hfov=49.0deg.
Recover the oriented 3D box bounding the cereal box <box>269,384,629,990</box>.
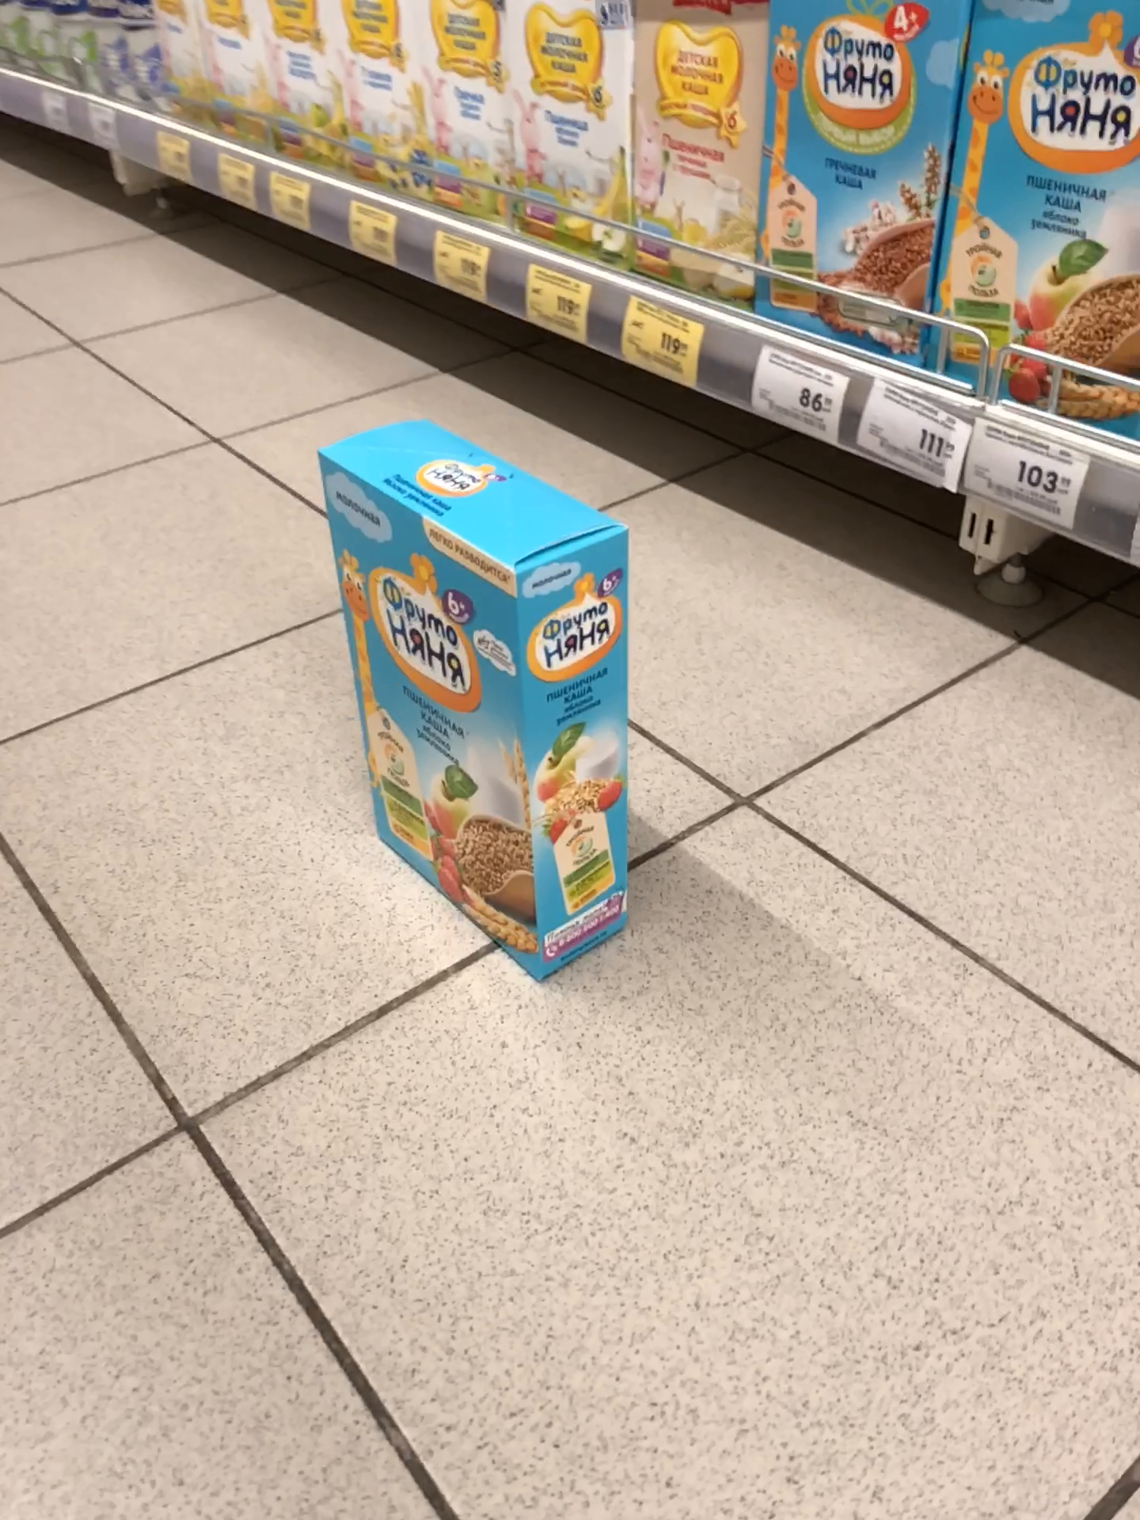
[{"bbox_3d":[-0.045,-0.030,0.510,0.060,0.199,0.141,-27,44,-29],"label":"cereal box"}]
